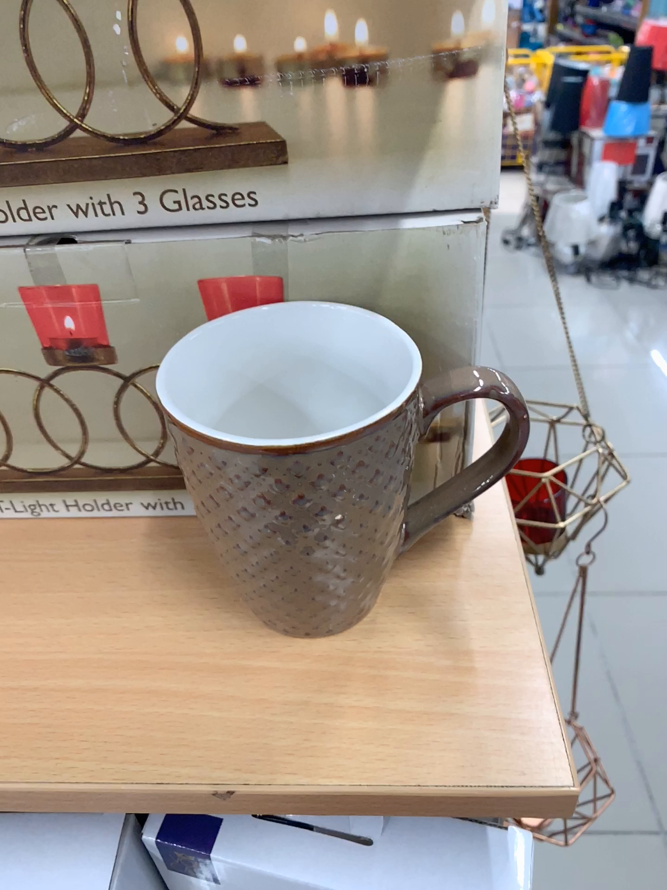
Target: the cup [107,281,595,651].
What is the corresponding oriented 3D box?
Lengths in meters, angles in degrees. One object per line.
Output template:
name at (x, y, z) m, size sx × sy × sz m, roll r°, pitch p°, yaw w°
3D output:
cup at (0.006, 0.004, 0.247) m, size 0.130 × 0.090 × 0.090 m, roll -3°, pitch 34°, yaw 0°
